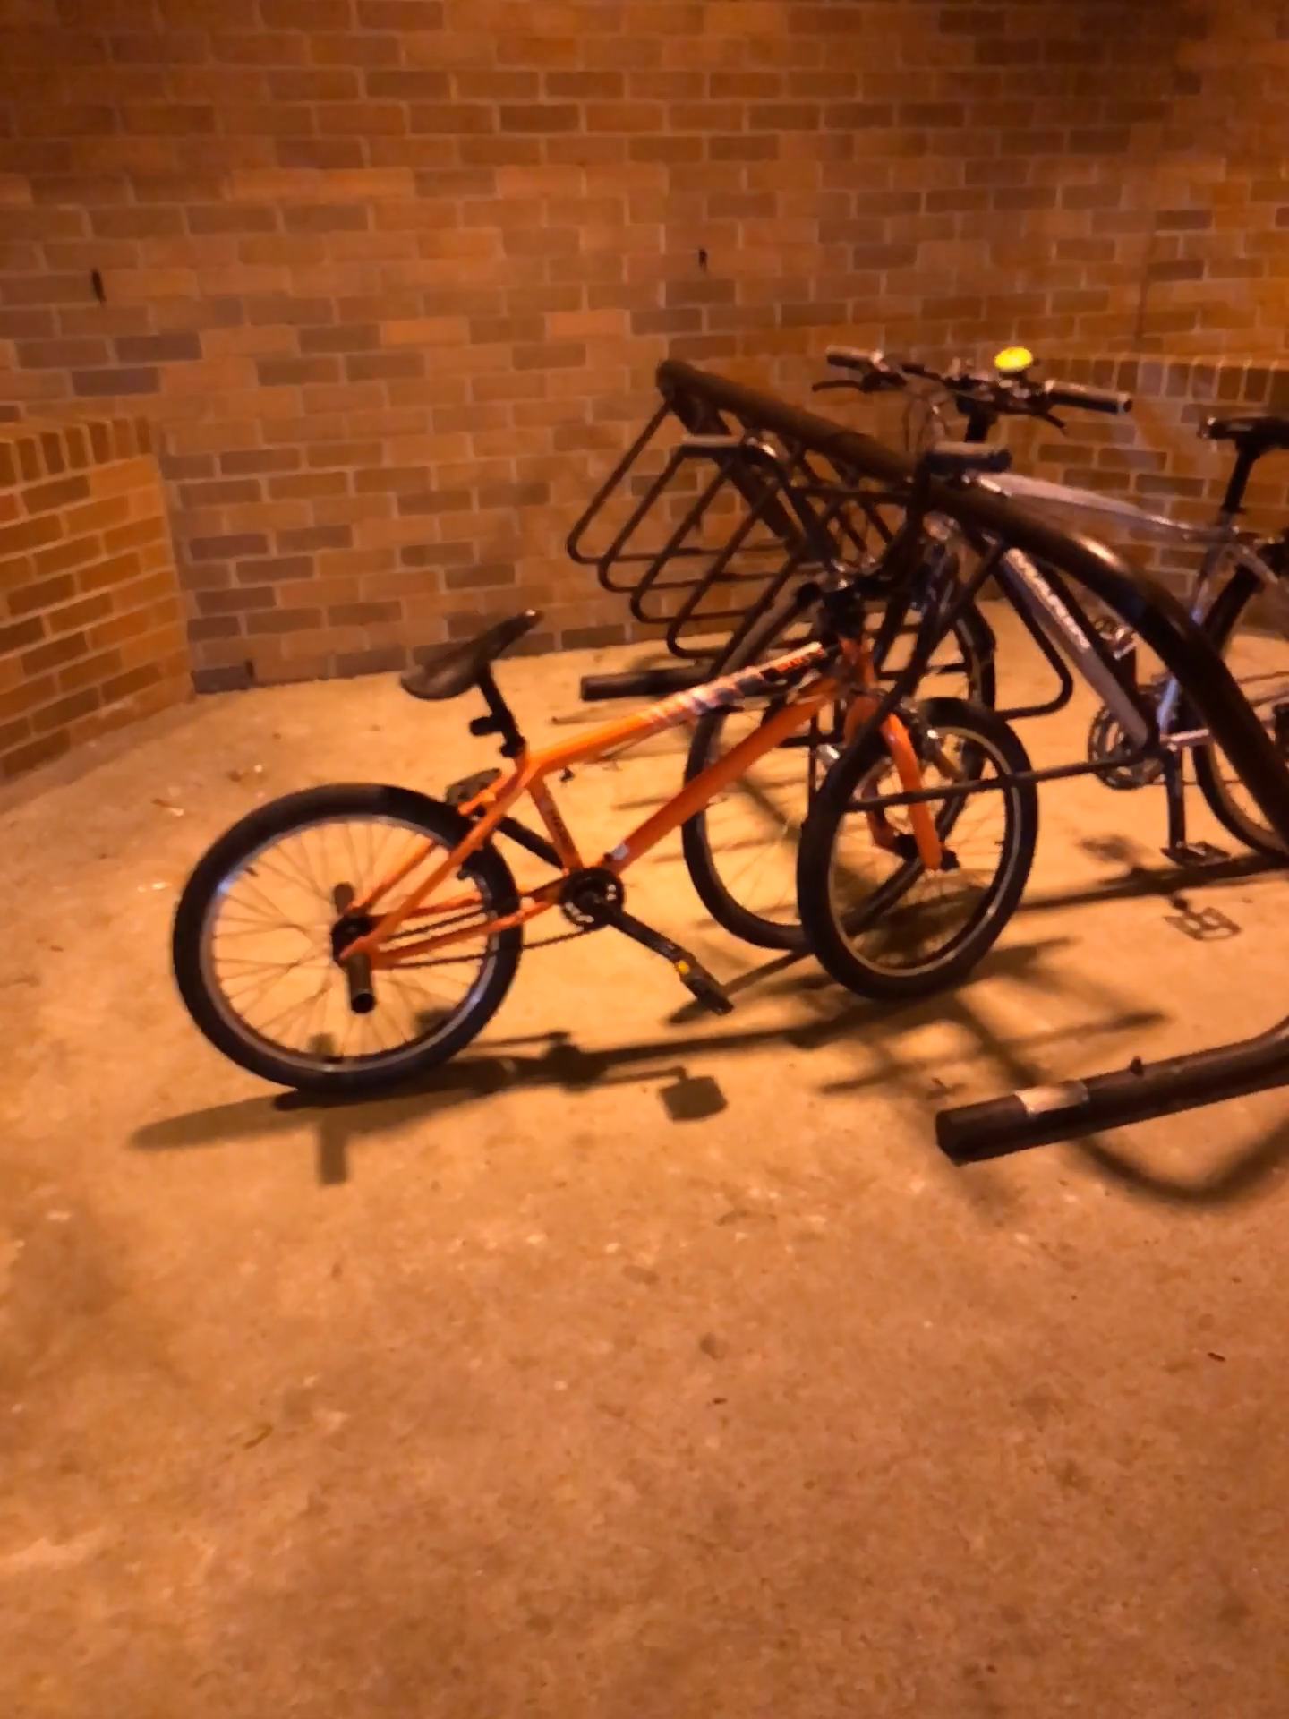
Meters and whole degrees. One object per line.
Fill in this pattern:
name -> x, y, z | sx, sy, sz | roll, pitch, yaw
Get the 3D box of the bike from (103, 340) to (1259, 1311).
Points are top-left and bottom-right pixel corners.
bike -> 0.002, -0.146, 2.009 | 1.290, 0.927, 0.748 | -10, 28, -16
